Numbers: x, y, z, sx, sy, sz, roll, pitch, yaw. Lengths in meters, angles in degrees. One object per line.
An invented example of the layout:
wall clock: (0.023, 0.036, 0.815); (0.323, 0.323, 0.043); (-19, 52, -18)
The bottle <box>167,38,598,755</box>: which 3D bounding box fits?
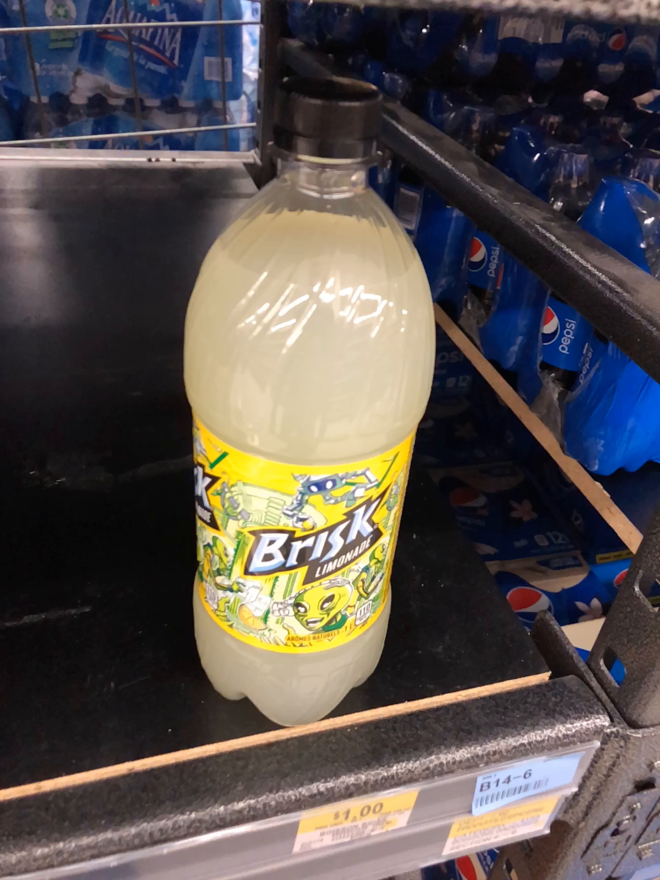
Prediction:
bottle: (-0.004, -0.002, 0.257); (0.090, 0.228, 0.091); (5, 36, -3)
